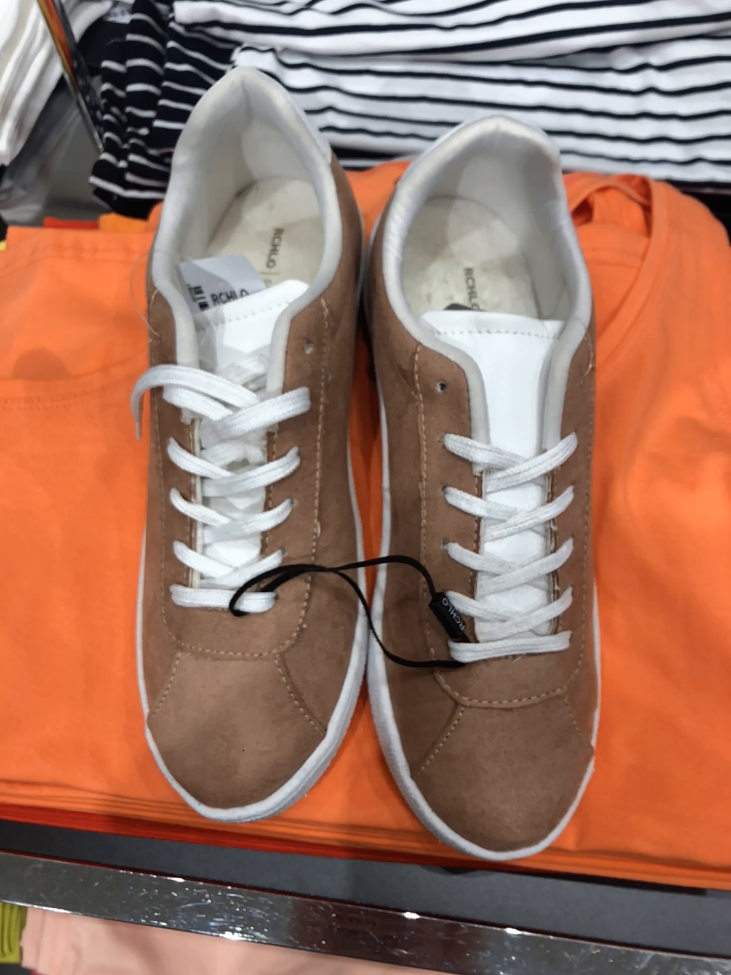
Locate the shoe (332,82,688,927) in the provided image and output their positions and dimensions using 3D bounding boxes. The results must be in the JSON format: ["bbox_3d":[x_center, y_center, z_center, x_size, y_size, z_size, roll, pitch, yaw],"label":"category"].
[{"bbox_3d":[0.039,0.002,0.291,0.090,0.100,0.250,-2,79,2],"label":"shoe"}]

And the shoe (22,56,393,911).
[{"bbox_3d":[-0.039,-0.005,0.287,0.090,0.100,0.250,1,79,3],"label":"shoe"}]
